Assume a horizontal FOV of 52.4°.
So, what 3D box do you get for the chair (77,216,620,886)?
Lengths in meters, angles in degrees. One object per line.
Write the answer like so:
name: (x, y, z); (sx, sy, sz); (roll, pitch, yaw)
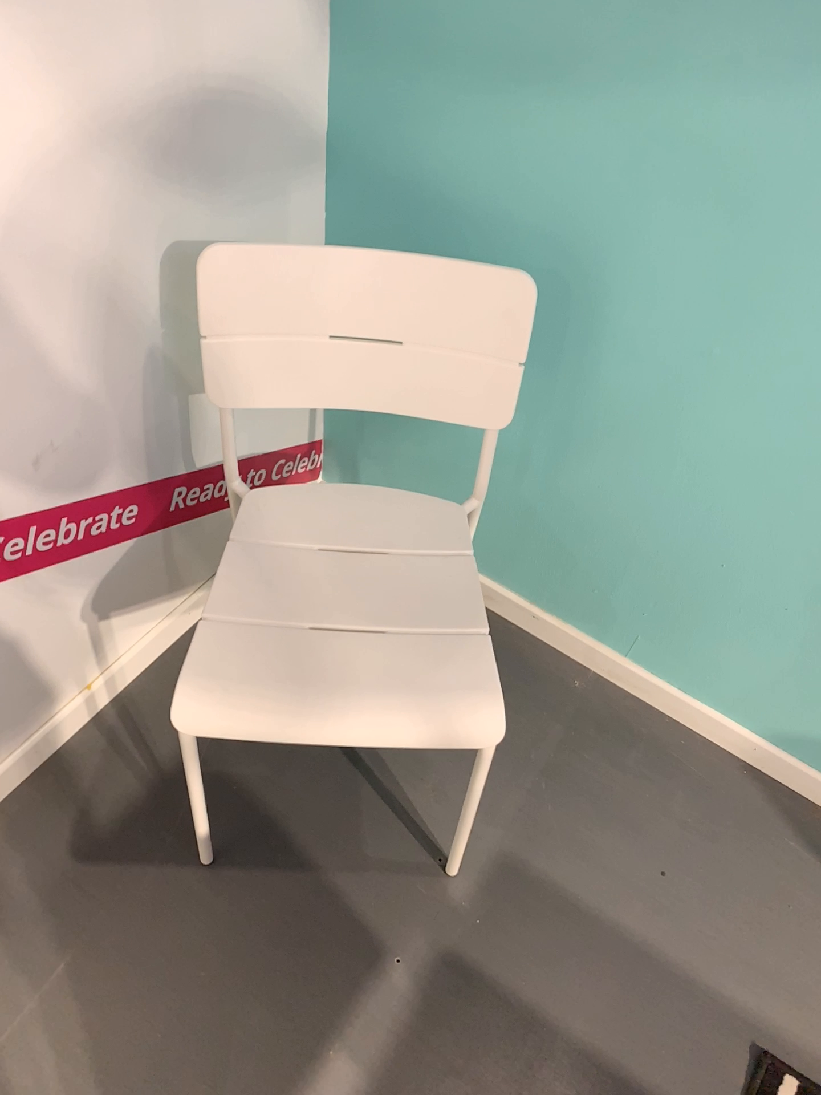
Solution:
chair: (-0.078, 0.074, 1.113); (0.430, 0.808, 0.451); (4, 50, -3)
